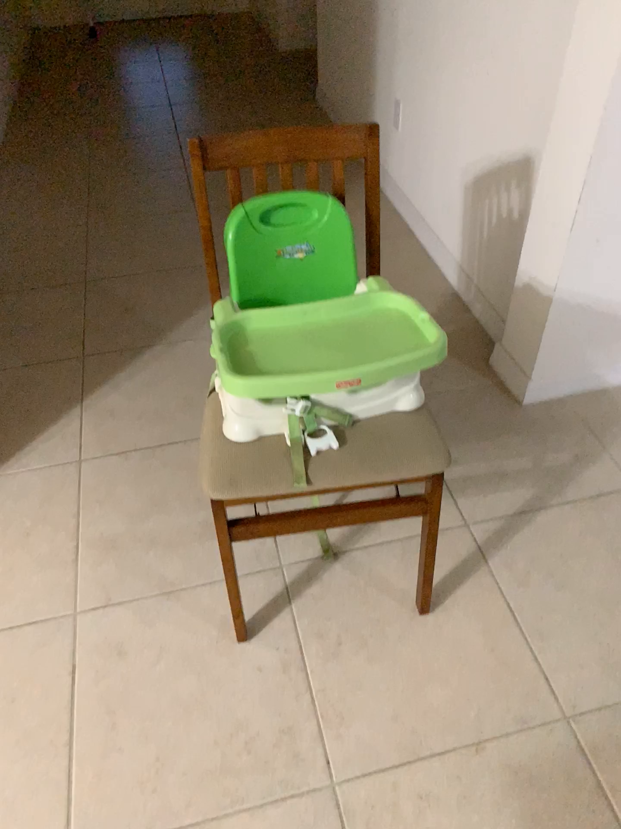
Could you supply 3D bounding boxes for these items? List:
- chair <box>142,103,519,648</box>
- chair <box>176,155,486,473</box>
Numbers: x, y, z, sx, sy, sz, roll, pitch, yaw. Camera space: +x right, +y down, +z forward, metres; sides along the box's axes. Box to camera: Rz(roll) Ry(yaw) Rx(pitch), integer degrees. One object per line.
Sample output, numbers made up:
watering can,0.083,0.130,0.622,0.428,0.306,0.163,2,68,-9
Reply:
chair,0.007,-0.041,1.260,0.454,0.882,0.560,-6,44,-4
chair,0.008,-0.185,1.086,0.404,0.328,0.388,-9,44,-7
